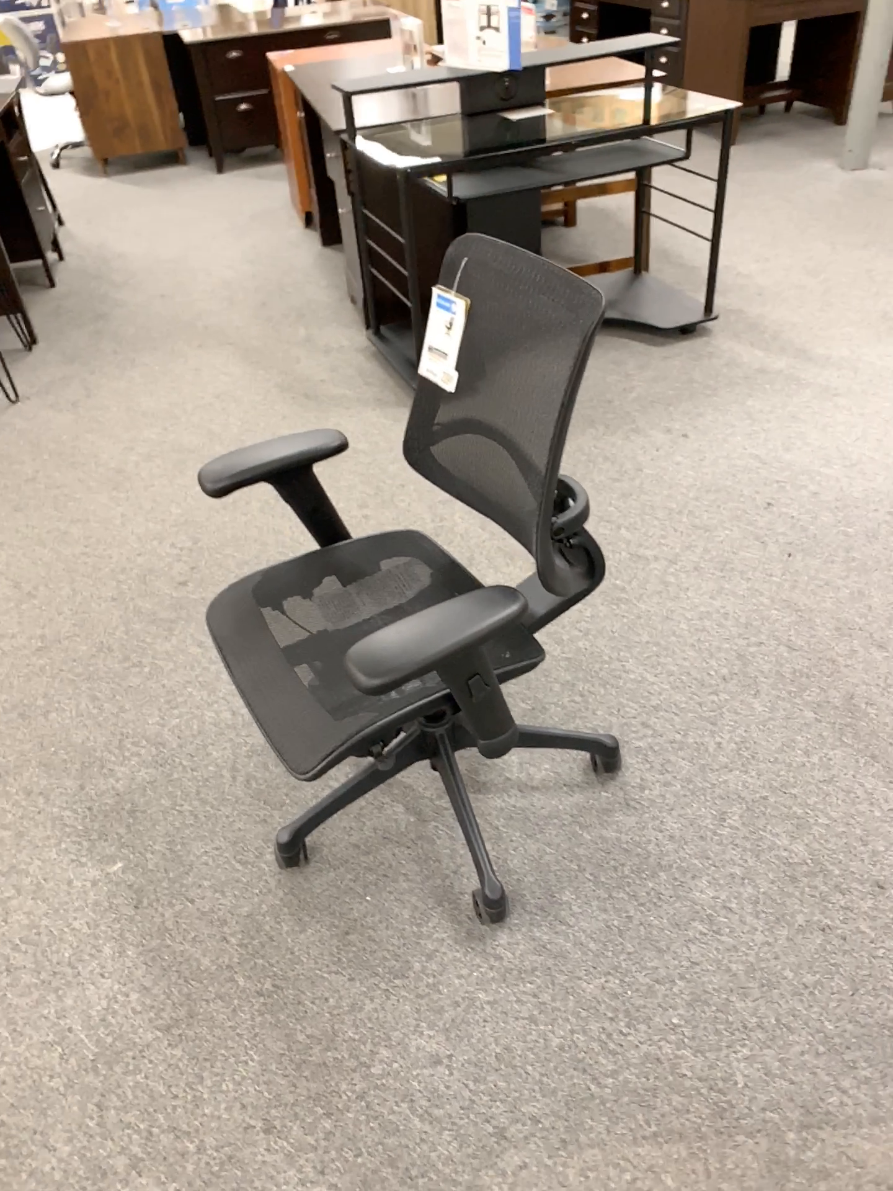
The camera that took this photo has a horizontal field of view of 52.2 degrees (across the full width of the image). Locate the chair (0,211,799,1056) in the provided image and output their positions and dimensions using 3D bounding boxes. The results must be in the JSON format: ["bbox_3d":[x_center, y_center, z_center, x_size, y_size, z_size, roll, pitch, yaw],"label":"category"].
[{"bbox_3d":[-0.082,-0.018,1.421,0.760,0.806,0.764,-26,42,-24],"label":"chair"}]
